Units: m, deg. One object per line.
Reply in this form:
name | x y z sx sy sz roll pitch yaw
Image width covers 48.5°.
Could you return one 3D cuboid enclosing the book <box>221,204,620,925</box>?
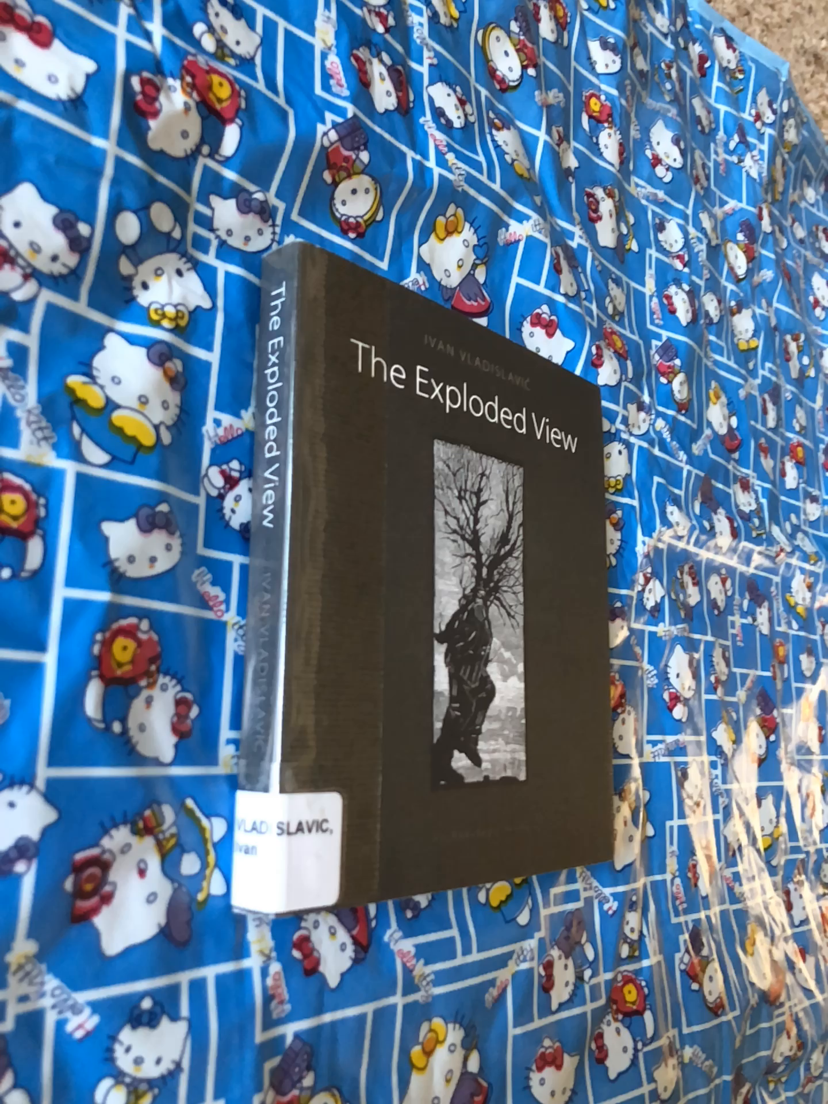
book | 0.014 0.009 0.270 0.141 0.020 0.170 12 76 -45
